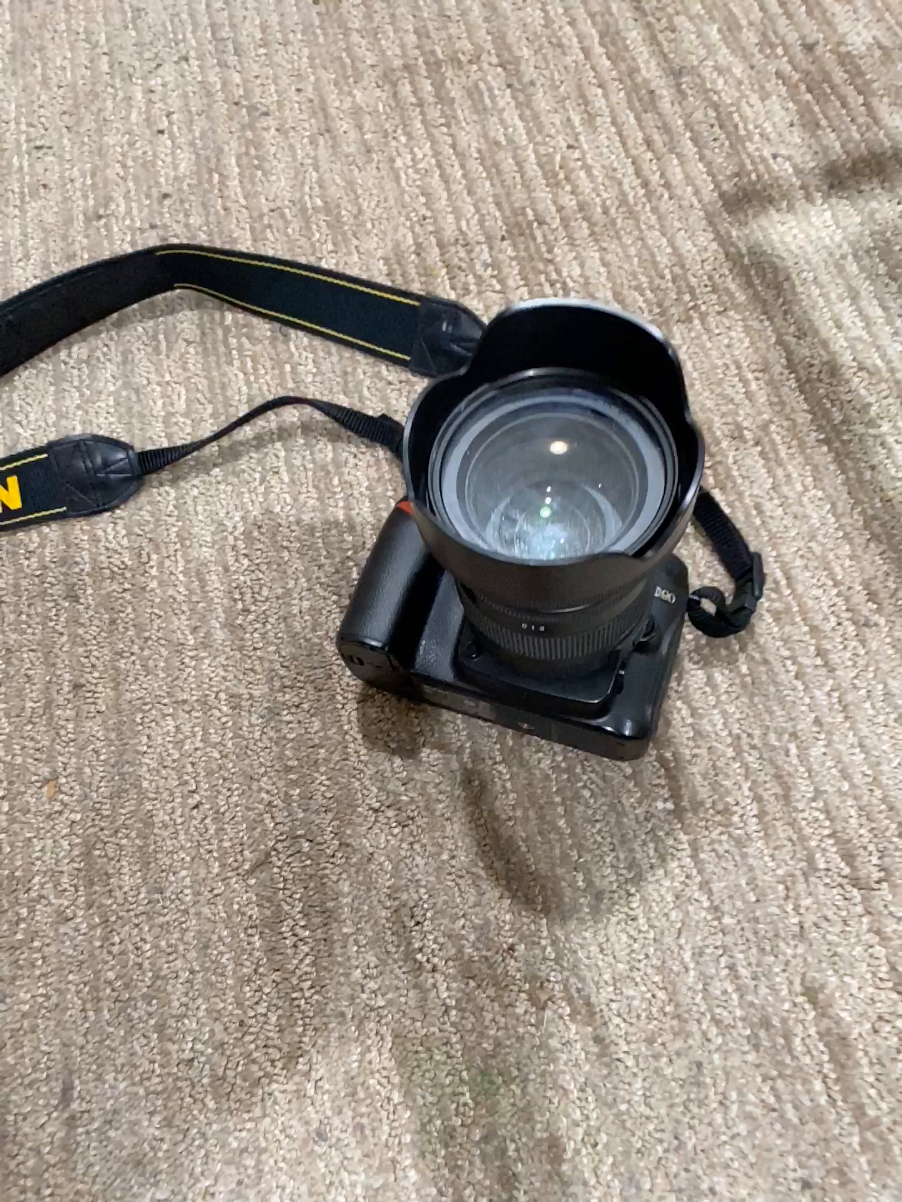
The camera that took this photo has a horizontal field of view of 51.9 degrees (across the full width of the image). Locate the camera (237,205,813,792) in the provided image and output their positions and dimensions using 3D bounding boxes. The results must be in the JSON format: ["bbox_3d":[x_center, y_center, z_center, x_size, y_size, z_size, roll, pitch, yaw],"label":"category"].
[{"bbox_3d":[0.029,-0.026,0.339,0.138,0.165,0.114,15,66,11],"label":"camera"}]
